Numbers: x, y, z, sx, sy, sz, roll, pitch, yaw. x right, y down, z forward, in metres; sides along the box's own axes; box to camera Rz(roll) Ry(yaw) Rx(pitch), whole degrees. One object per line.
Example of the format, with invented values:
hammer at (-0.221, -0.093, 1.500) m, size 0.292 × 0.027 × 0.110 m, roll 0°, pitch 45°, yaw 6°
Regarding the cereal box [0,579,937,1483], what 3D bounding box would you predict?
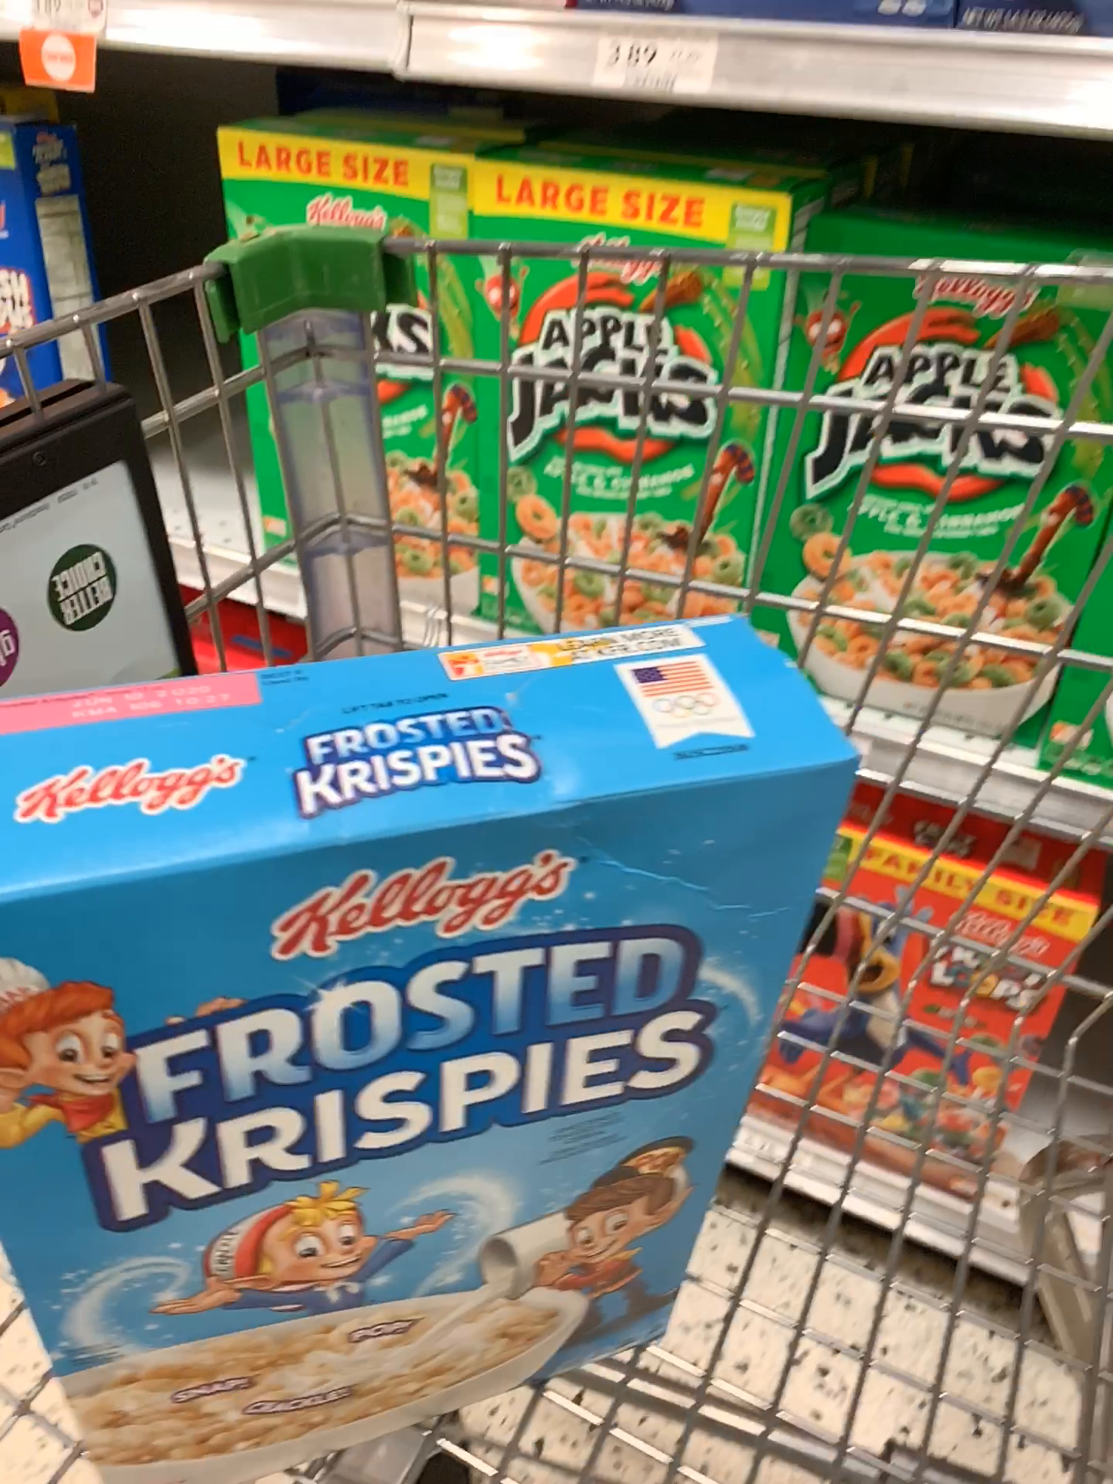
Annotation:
cereal box at (-0.039, 0.115, 0.328) m, size 0.200 × 0.317 × 0.060 m, roll -9°, pitch 43°, yaw -16°
